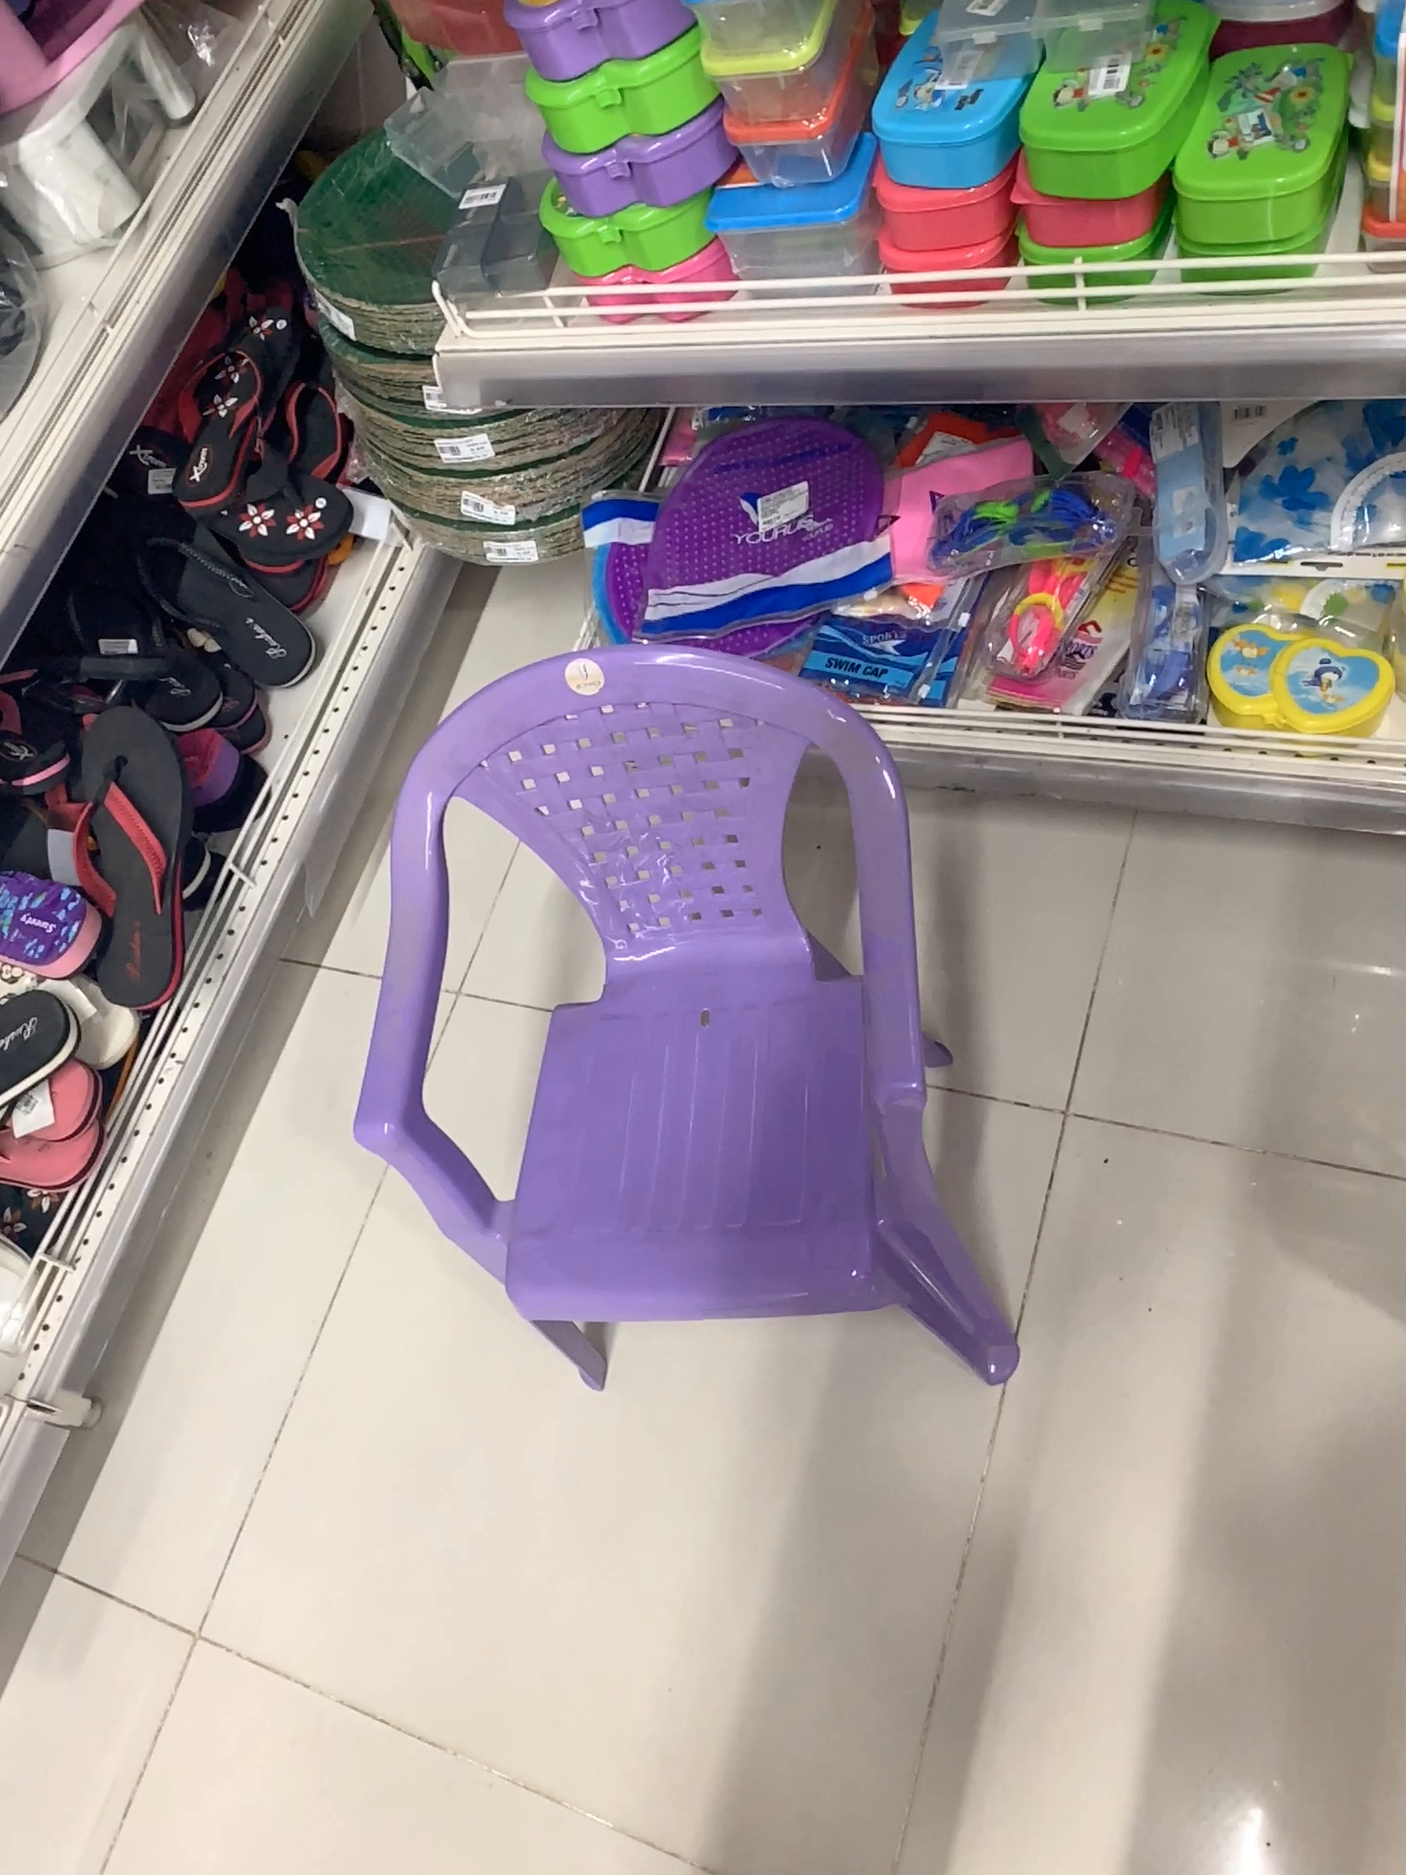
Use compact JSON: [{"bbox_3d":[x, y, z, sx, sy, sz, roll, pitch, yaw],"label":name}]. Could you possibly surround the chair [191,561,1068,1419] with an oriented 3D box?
[{"bbox_3d":[-0.007,0.081,0.985,0.421,0.429,0.400,-8,61,17],"label":"chair"}]
